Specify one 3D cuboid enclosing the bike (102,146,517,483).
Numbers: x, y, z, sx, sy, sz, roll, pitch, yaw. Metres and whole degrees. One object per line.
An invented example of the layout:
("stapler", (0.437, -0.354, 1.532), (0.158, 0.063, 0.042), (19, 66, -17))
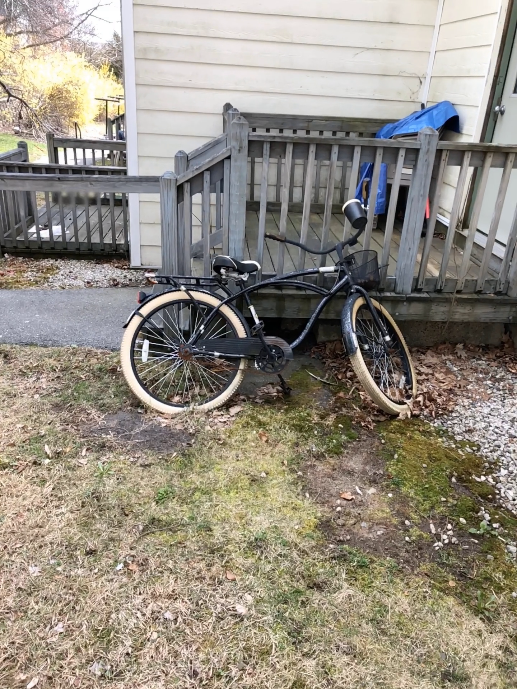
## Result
("bike", (0.202, -0.229, 2.902), (1.610, 1.314, 0.942), (-7, 26, -15))
